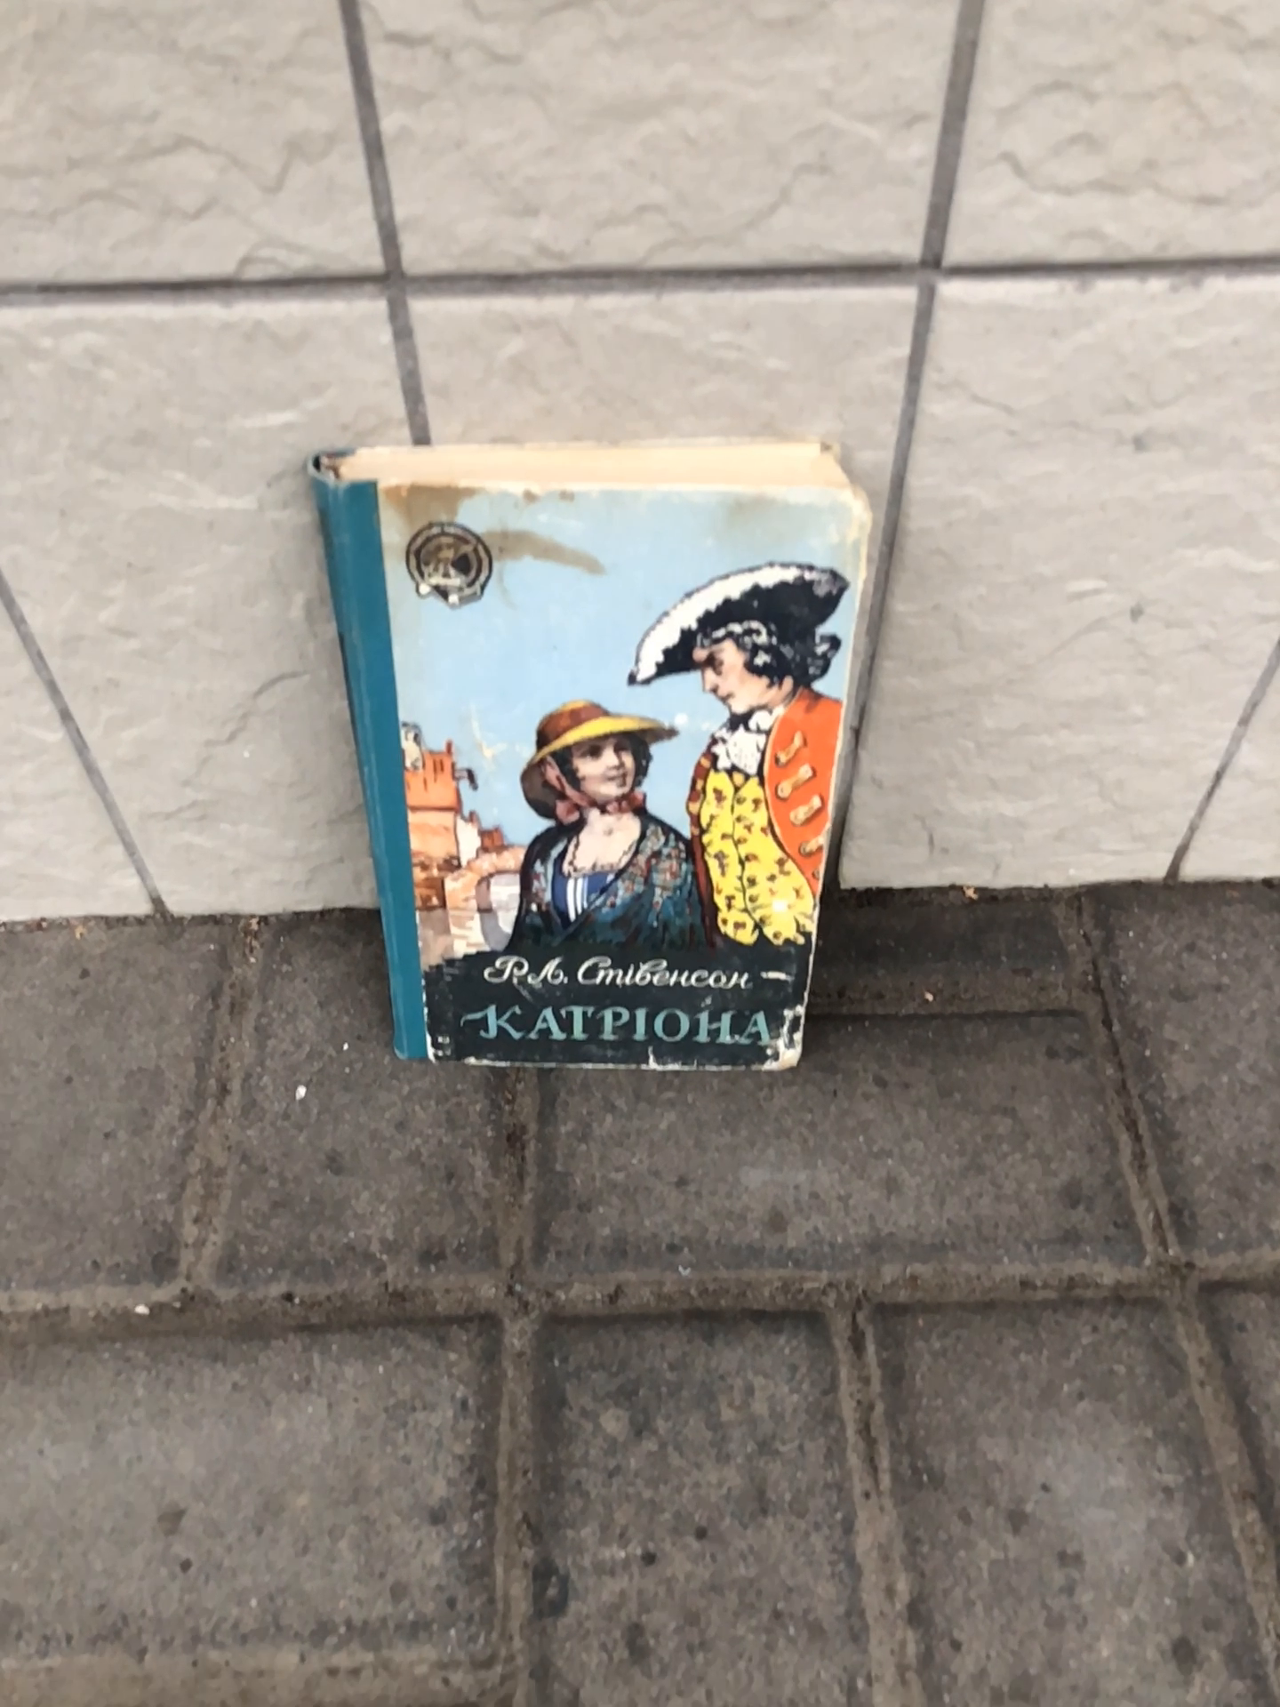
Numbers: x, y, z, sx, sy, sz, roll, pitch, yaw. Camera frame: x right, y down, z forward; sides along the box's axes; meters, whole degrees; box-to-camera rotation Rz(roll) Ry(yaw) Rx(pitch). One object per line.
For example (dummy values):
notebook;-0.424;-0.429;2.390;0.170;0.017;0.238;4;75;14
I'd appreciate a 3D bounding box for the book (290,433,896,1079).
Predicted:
book;-0.010;-0.016;0.380;0.134;0.189;0.030;1;39;2
